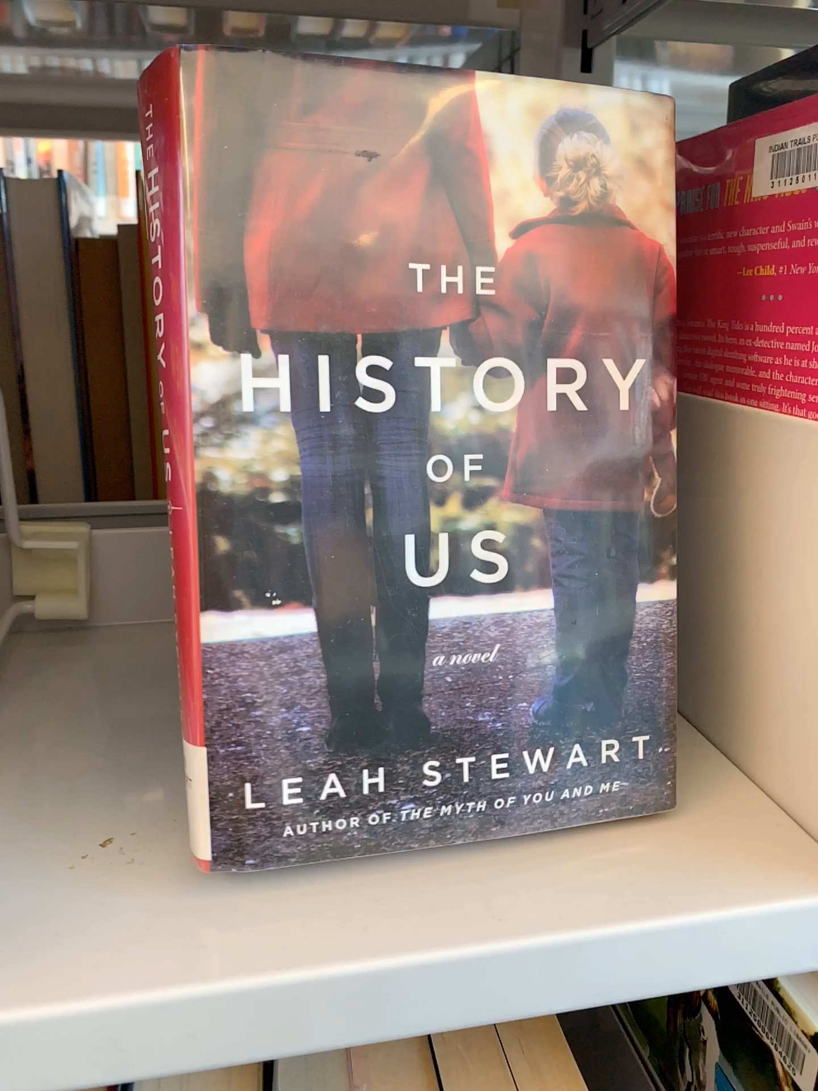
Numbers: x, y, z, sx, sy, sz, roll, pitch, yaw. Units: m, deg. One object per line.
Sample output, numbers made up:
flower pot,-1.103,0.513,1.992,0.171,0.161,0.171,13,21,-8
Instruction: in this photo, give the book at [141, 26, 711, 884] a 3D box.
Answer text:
book,0.010,-0.025,0.253,0.152,0.220,0.040,-4,6,-12
